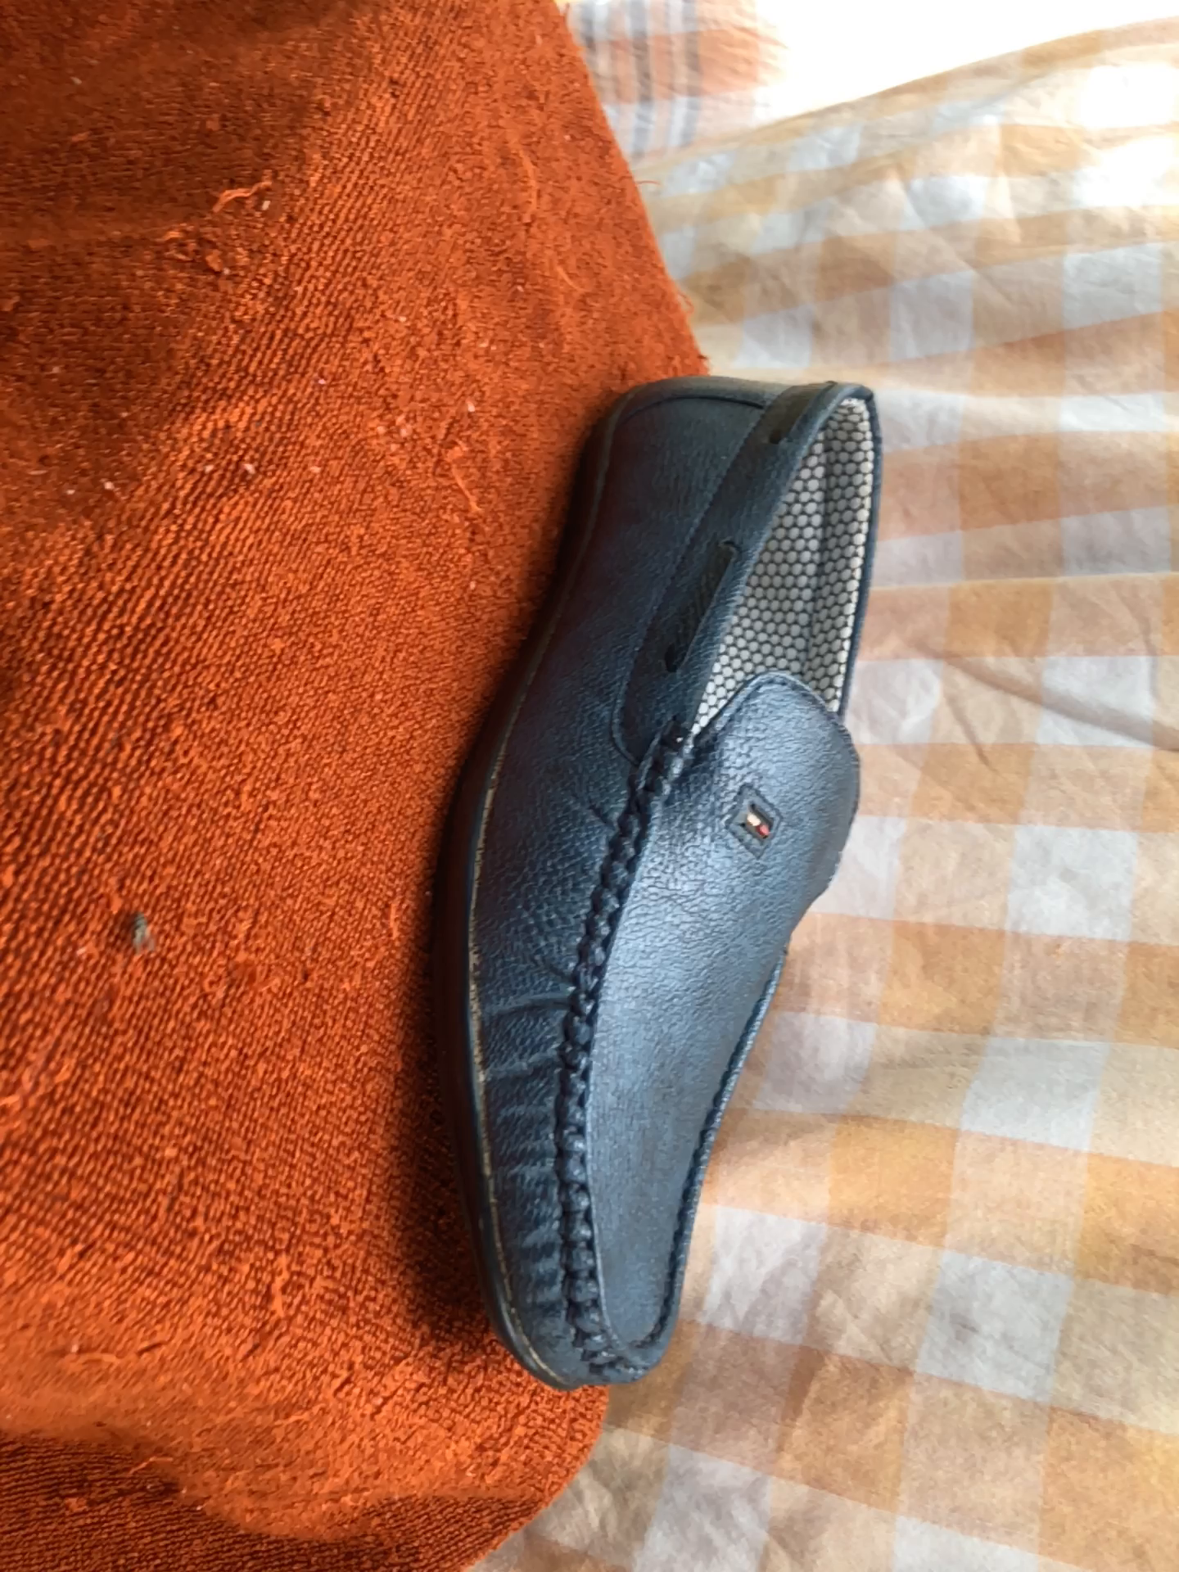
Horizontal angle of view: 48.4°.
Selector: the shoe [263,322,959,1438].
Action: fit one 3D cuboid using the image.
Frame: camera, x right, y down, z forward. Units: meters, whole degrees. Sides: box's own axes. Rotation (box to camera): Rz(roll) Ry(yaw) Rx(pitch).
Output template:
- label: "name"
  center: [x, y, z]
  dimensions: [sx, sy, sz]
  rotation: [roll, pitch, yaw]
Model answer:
- label: "shoe"
  center: [0.028, 0.010, 0.342]
  dimensions: [0.101, 0.089, 0.260]
  rotation: [58, 41, -47]
